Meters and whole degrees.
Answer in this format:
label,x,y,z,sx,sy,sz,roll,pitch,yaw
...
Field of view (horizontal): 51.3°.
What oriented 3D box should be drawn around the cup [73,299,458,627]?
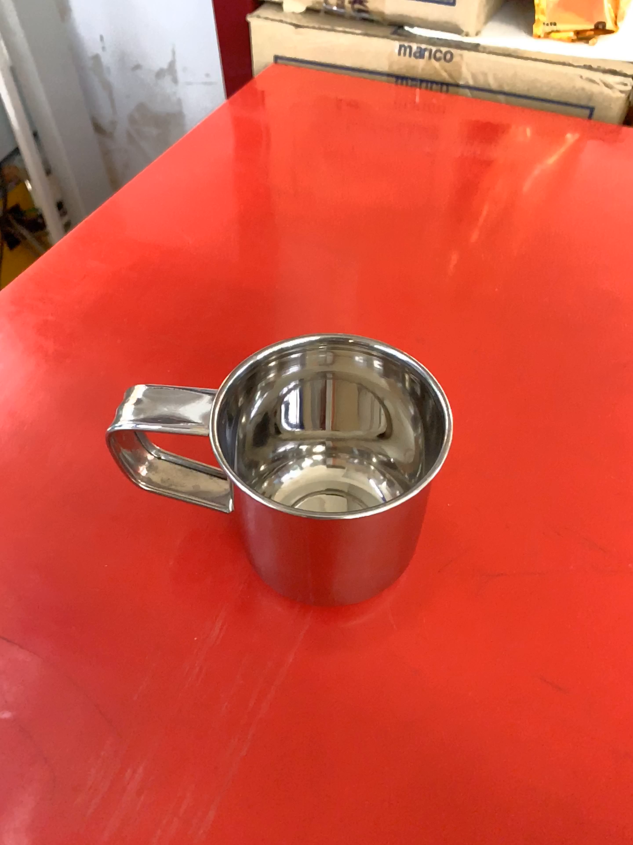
label,x,y,z,sx,sy,sz,roll,pitch,yaw
cup,-0.011,0.013,0.241,0.110,0.070,0.081,7,50,7
